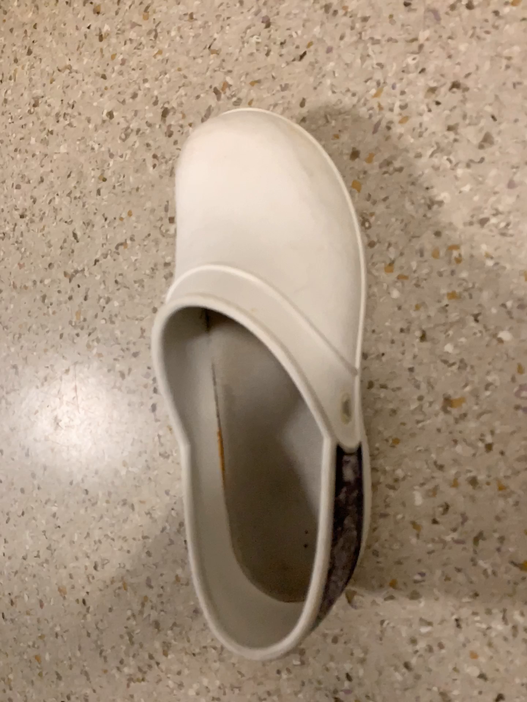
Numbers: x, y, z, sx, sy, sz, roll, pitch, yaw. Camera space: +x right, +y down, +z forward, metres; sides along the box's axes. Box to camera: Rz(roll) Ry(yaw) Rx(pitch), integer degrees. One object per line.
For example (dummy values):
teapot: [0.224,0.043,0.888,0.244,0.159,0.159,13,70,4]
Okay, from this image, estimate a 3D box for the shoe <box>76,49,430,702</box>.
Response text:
shoe: [-0.003,0.018,0.264,0.107,0.101,0.254,-11,83,28]
